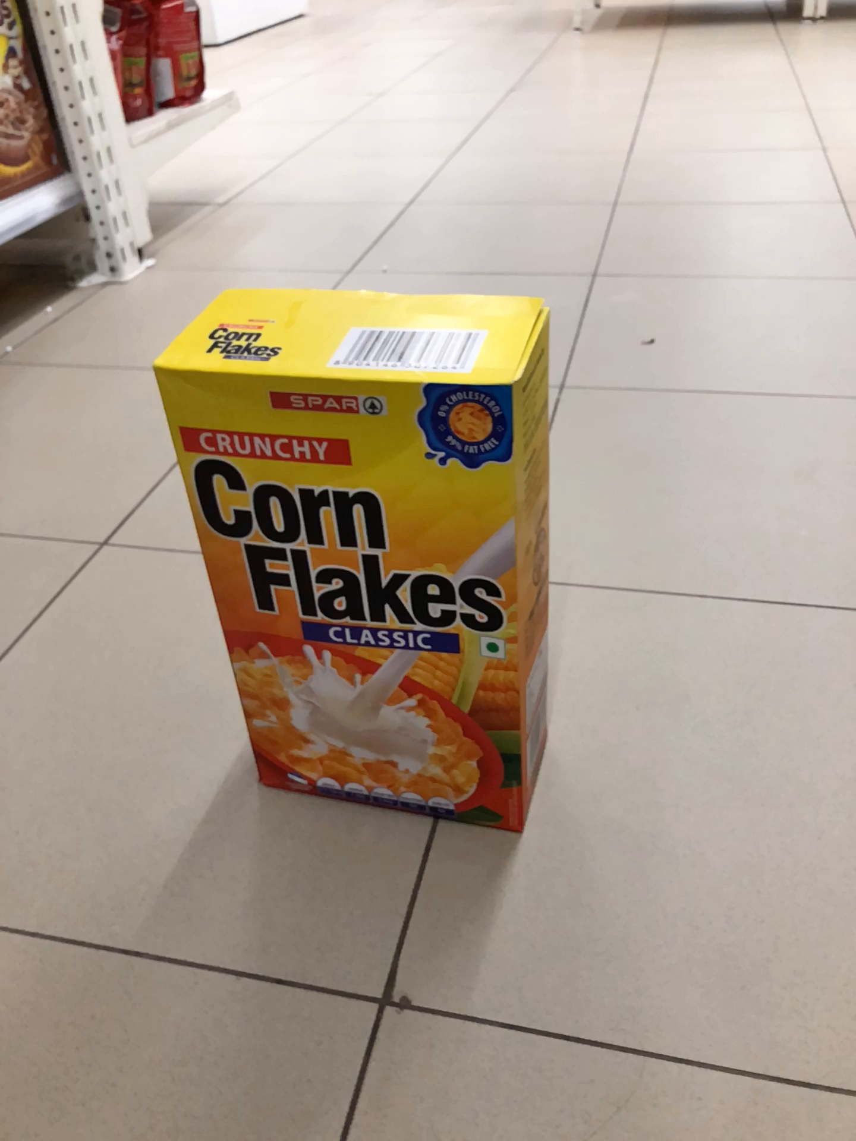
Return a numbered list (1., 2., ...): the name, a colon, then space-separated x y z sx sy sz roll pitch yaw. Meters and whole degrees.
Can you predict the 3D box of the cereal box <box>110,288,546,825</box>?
1. cereal box: -0.037 -0.003 0.567 0.200 0.298 0.101 6 36 15
